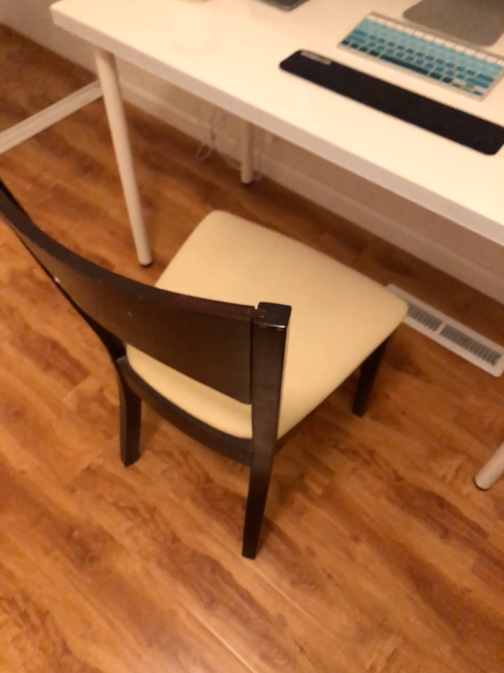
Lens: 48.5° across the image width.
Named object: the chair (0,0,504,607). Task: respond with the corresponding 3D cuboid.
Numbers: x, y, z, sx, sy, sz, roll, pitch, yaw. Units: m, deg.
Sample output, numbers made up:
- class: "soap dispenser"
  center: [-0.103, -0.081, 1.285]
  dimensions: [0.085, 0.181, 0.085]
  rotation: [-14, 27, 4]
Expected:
- class: "chair"
  center: [-0.033, -0.059, 1.049]
  dimensions: [0.571, 0.886, 0.662]
  rotation: [33, 60, 21]
